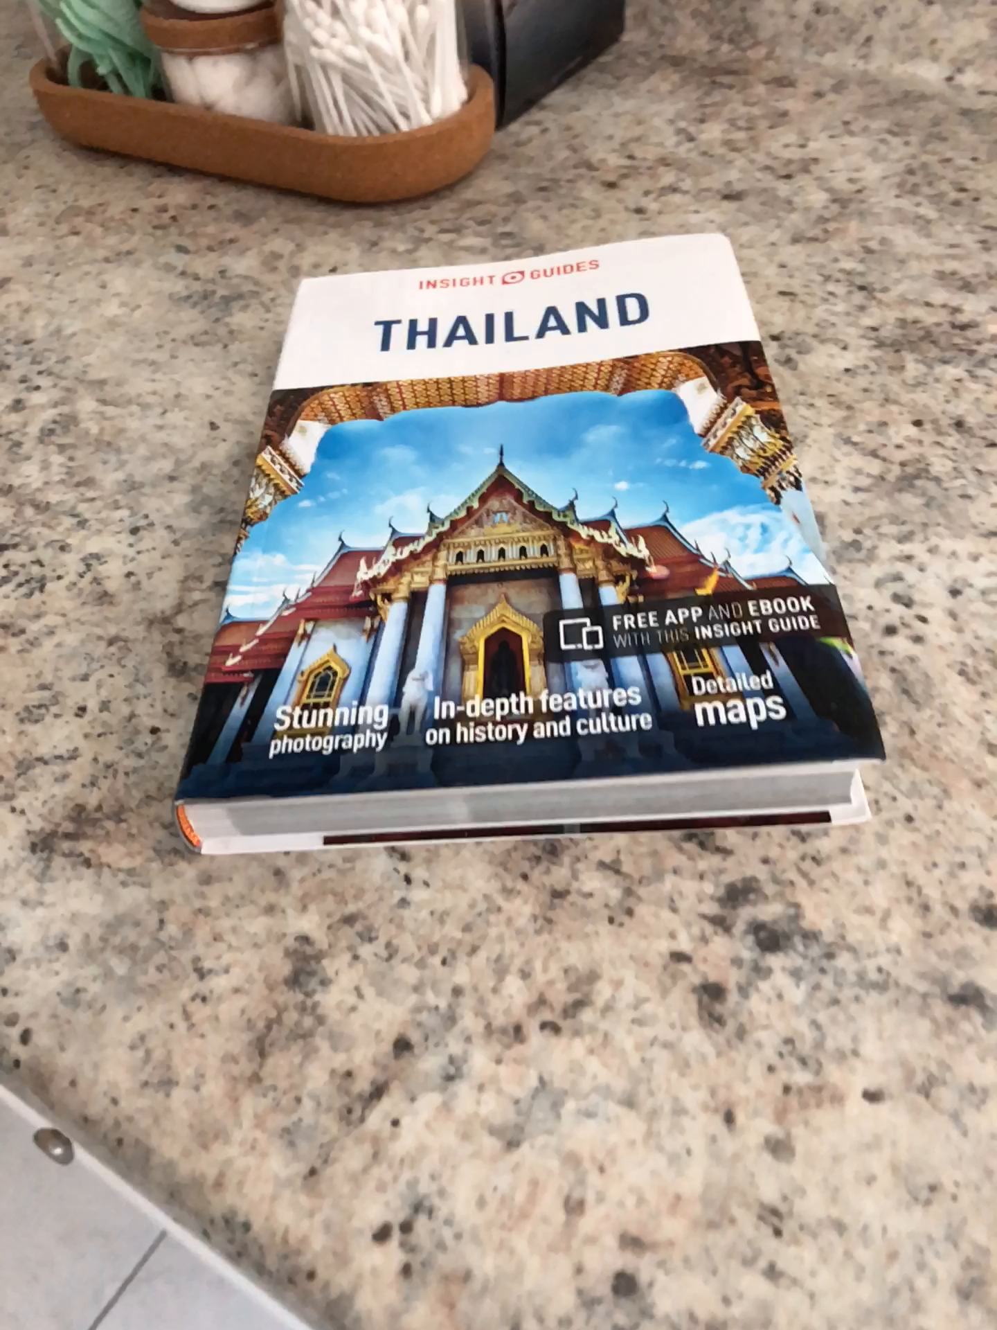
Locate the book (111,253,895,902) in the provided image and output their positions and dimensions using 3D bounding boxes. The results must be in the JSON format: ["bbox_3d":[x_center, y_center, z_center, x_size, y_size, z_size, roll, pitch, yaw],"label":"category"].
[{"bbox_3d":[0.000,-0.046,0.327,0.164,0.030,0.241,-5,44,5],"label":"book"}]
